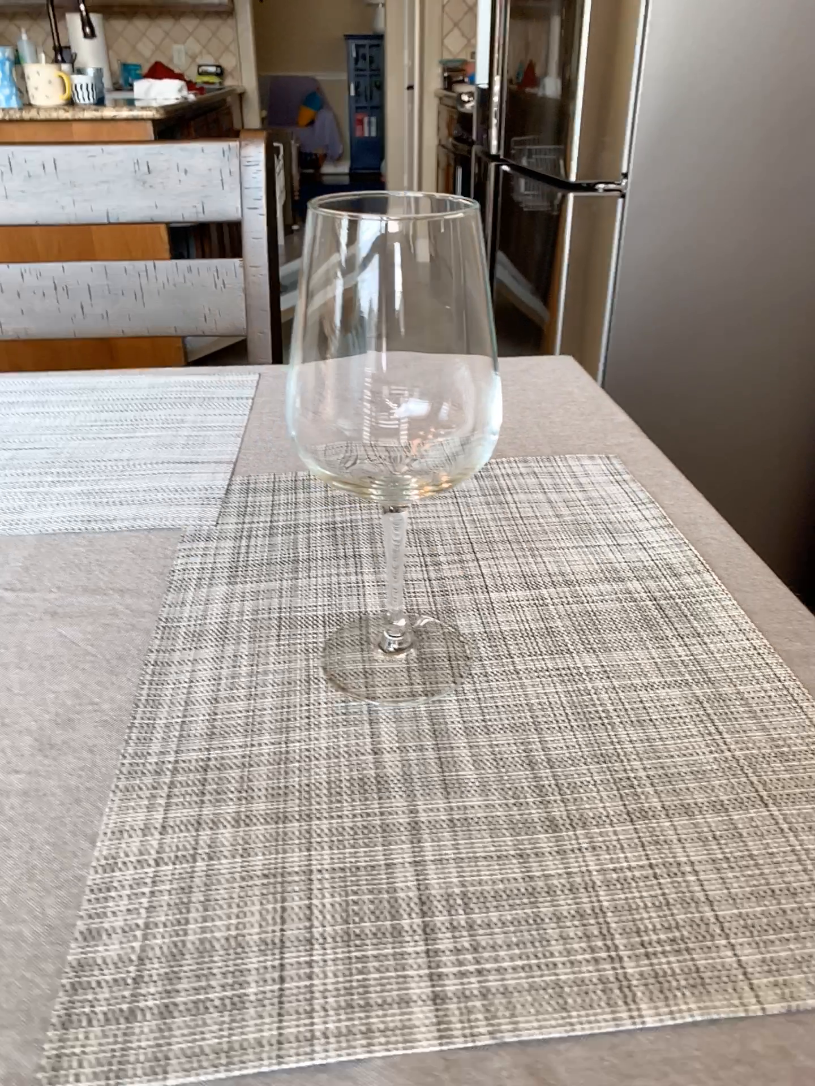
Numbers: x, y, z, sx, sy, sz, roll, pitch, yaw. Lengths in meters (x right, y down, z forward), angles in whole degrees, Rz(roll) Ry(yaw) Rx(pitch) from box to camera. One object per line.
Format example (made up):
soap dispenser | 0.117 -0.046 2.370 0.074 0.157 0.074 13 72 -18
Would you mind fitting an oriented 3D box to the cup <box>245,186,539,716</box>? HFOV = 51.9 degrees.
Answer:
cup | -0.007 -0.041 0.384 0.100 0.214 0.108 0 29 0
